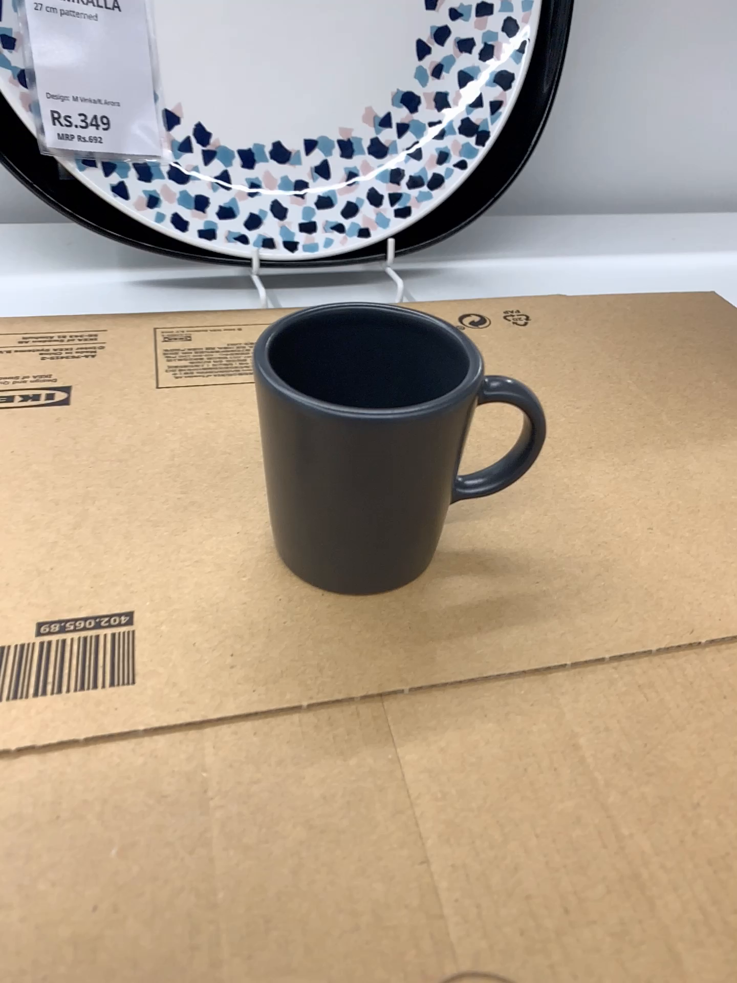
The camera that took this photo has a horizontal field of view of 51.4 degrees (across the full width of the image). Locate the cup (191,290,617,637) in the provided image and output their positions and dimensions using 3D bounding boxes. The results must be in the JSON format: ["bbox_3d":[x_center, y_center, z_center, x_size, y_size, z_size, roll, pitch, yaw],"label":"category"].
[{"bbox_3d":[0.004,-0.011,0.204,0.090,0.060,0.060,-7,38,-15],"label":"cup"}]
